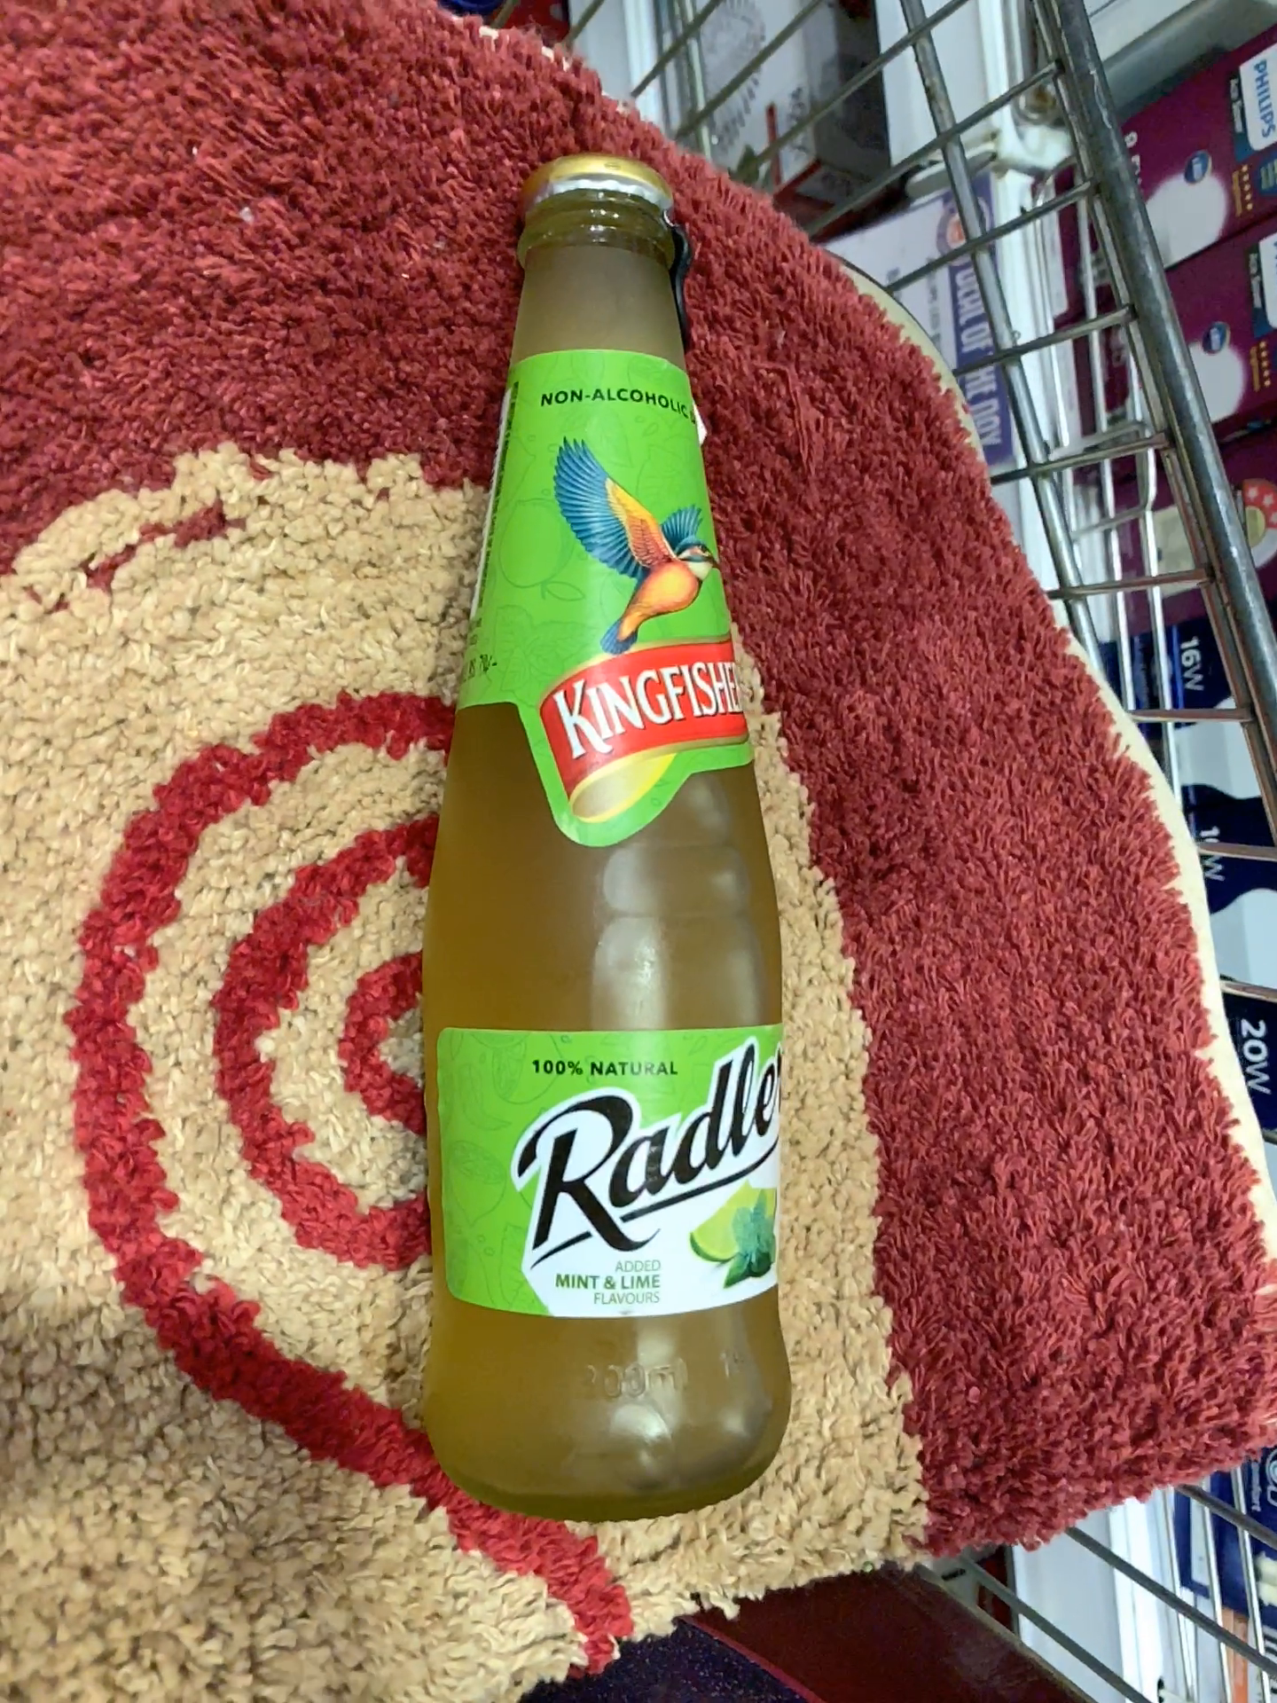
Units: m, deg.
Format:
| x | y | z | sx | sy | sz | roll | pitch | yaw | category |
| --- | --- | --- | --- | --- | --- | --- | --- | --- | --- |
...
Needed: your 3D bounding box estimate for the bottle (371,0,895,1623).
| x | y | z | sx | sy | sz | roll | pitch | yaw | category |
| --- | --- | --- | --- | --- | --- | --- | --- | --- | --- |
| -0.005 | -0.016 | 0.224 | 0.060 | 0.060 | 0.240 | 1 | 85 | -31 | bottle |
